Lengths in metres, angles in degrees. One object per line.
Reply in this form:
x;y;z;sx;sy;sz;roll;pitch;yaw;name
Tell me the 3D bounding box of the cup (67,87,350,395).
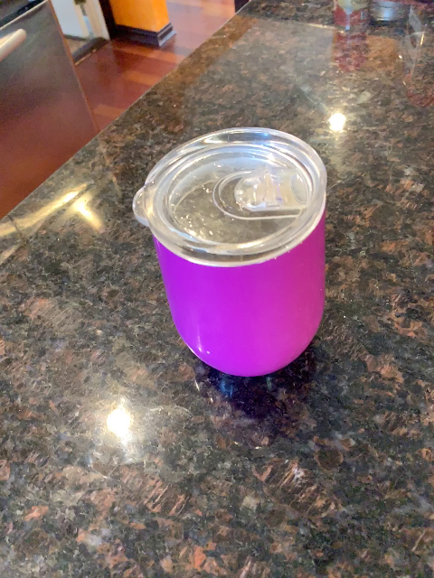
0.006;-0.022;0.227;0.090;0.110;0.090;-4;53;5;cup
